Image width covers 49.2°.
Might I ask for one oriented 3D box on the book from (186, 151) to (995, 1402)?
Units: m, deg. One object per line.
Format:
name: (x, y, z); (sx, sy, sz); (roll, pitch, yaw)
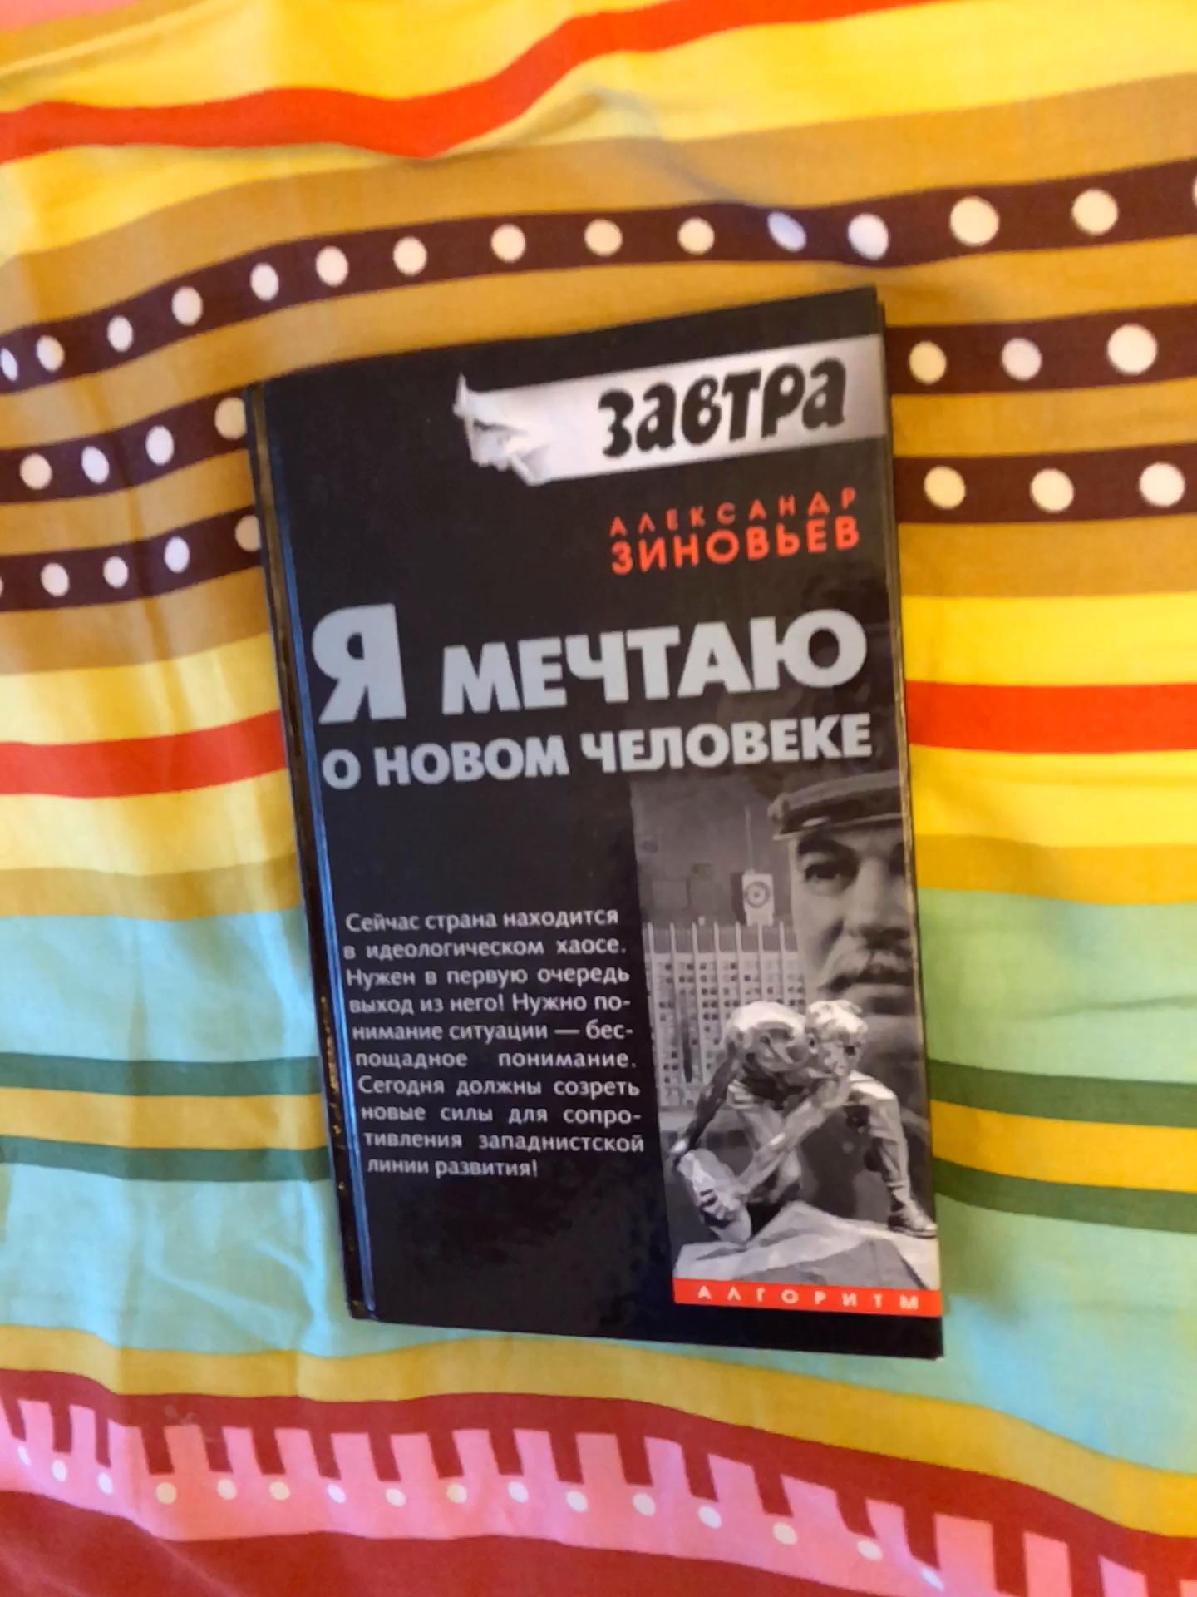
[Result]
book: (0.001, 0.004, 0.261); (0.140, 0.030, 0.220); (-2, 99, 16)
